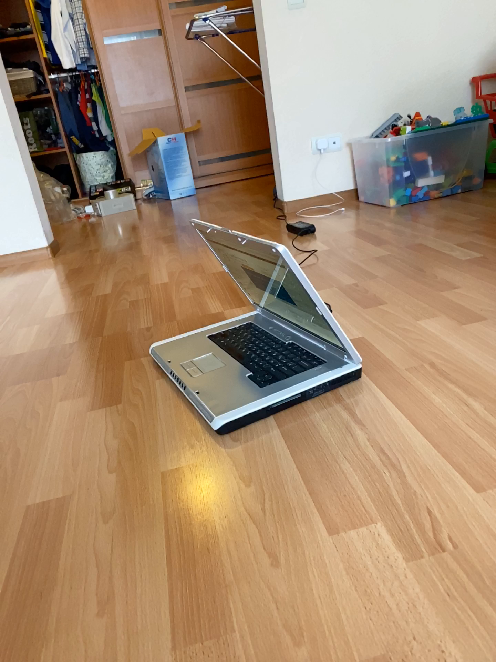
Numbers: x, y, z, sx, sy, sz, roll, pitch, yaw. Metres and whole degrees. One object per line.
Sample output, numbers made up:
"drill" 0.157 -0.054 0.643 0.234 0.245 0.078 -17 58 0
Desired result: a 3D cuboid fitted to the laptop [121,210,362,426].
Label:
"laptop" -0.030 -0.062 0.935 0.273 0.238 0.388 -18 24 -21
